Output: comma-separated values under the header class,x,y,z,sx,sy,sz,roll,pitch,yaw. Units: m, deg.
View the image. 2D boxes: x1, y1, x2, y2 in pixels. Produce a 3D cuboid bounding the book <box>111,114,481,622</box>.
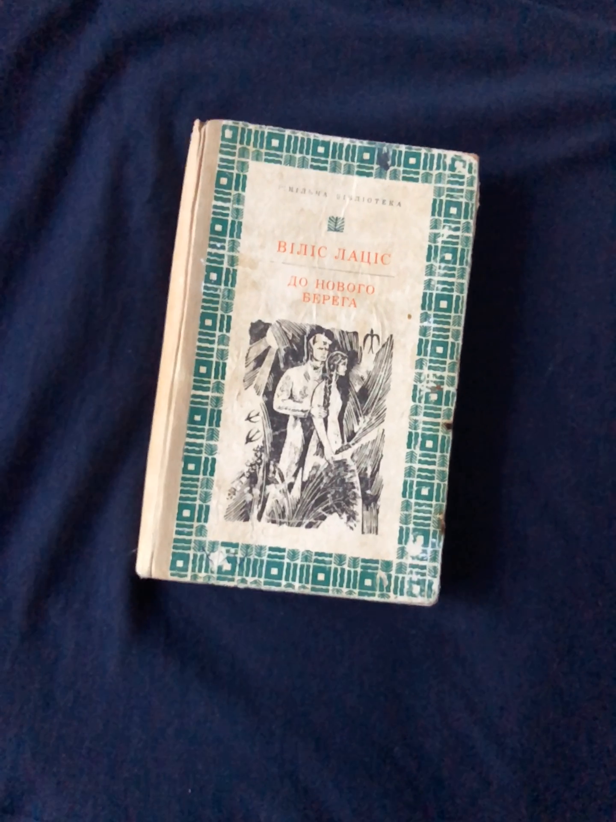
class,x,y,z,sx,sy,sz,roll,pitch,yaw
book,-0.002,-0.019,0.308,0.134,0.040,0.201,6,84,-2
